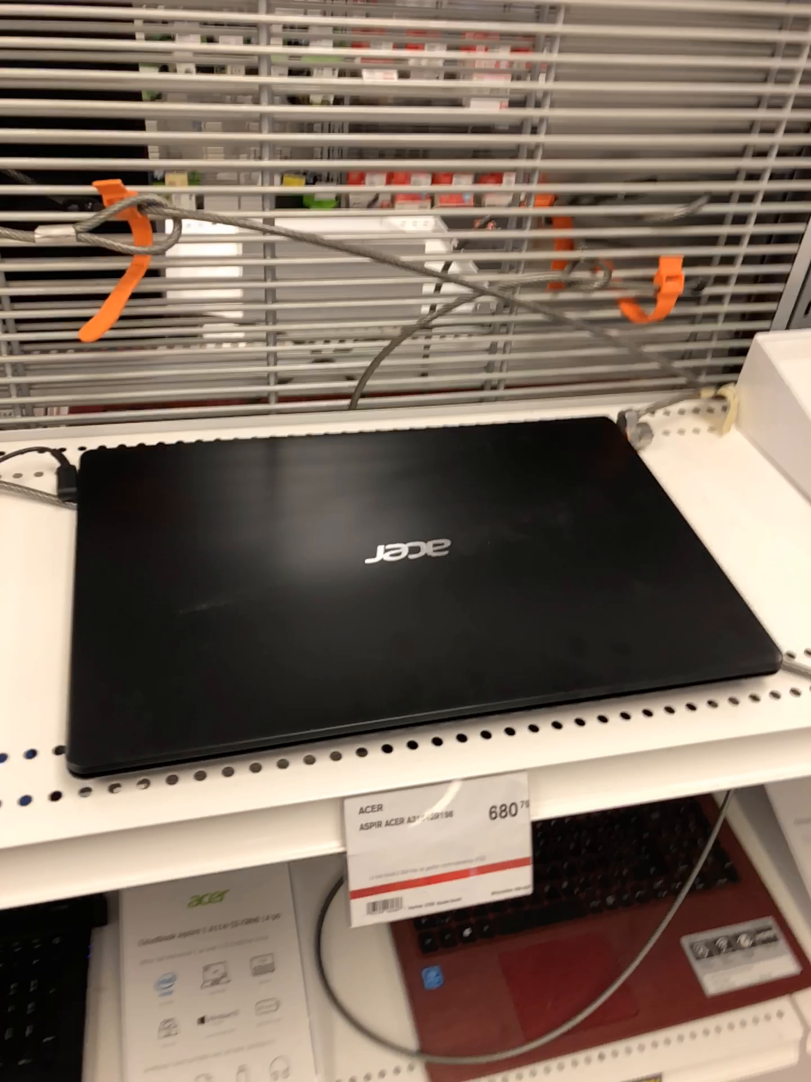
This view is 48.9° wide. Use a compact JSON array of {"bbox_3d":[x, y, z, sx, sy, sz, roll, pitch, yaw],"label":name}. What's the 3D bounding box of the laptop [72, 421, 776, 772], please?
[{"bbox_3d":[0.000,0.007,0.518,0.355,0.006,0.232,-5,42,-14],"label":"laptop"}]
